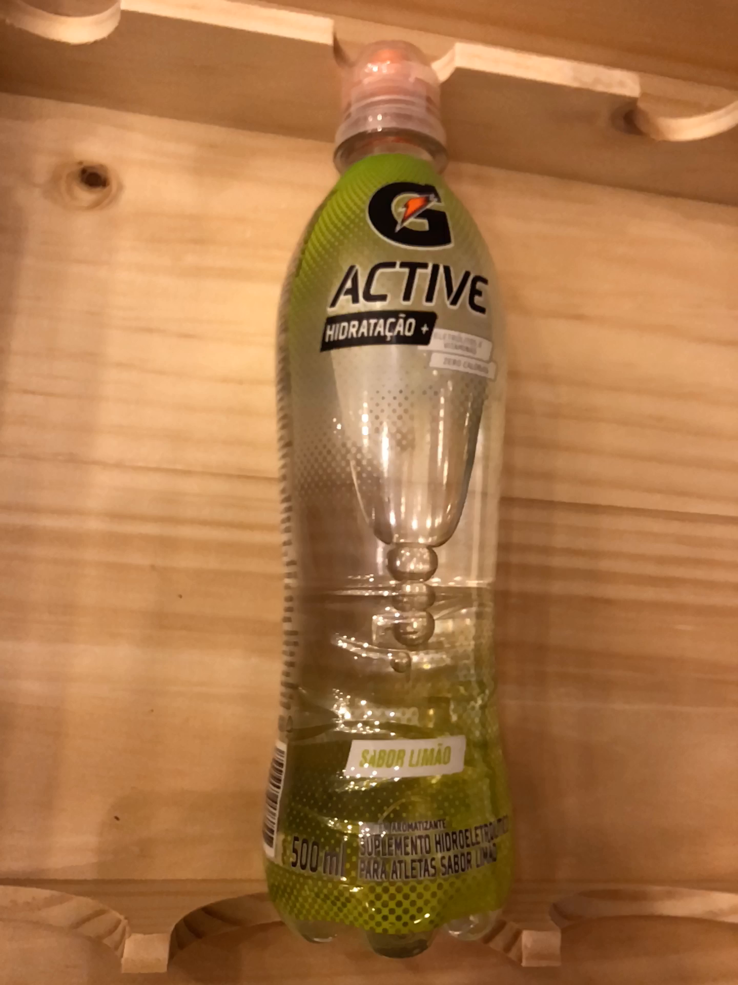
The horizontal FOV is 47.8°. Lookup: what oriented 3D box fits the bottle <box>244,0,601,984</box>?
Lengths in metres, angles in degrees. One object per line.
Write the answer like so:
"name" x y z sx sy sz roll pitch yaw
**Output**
"bottle" 0.007 -0.022 0.226 0.070 0.070 0.270 2 78 -11
